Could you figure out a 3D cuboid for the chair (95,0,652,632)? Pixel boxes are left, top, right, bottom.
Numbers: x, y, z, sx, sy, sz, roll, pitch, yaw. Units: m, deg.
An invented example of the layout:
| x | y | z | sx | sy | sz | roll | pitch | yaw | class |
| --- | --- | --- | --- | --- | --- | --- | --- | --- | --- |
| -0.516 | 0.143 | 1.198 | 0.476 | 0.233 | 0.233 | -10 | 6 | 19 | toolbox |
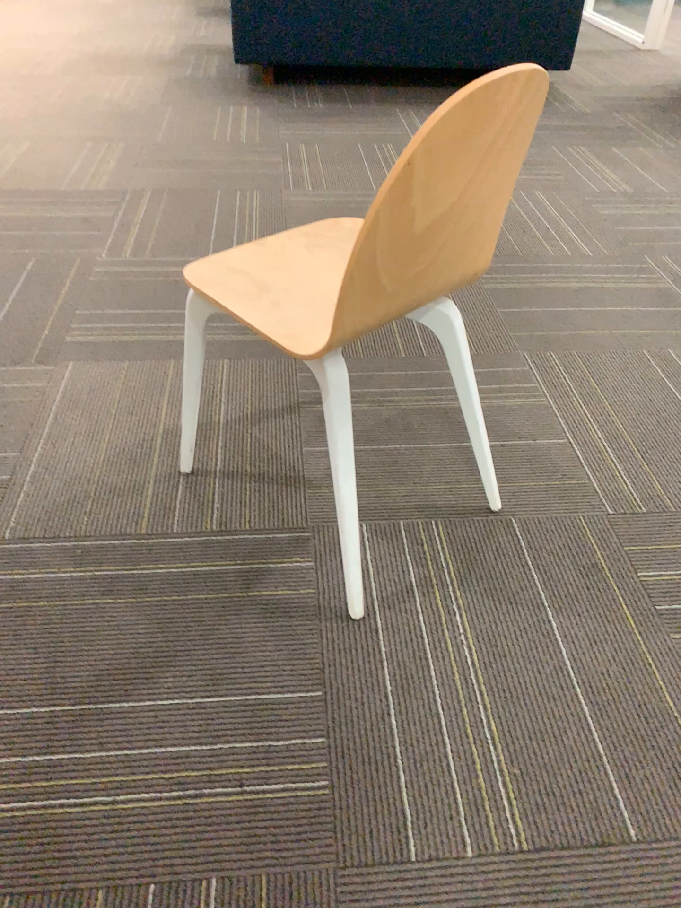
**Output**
| x | y | z | sx | sy | sz | roll | pitch | yaw | class |
| --- | --- | --- | --- | --- | --- | --- | --- | --- | --- |
| 0.024 | -0.248 | 1.173 | 0.501 | 0.795 | 0.542 | -30 | 50 | -33 | chair |
